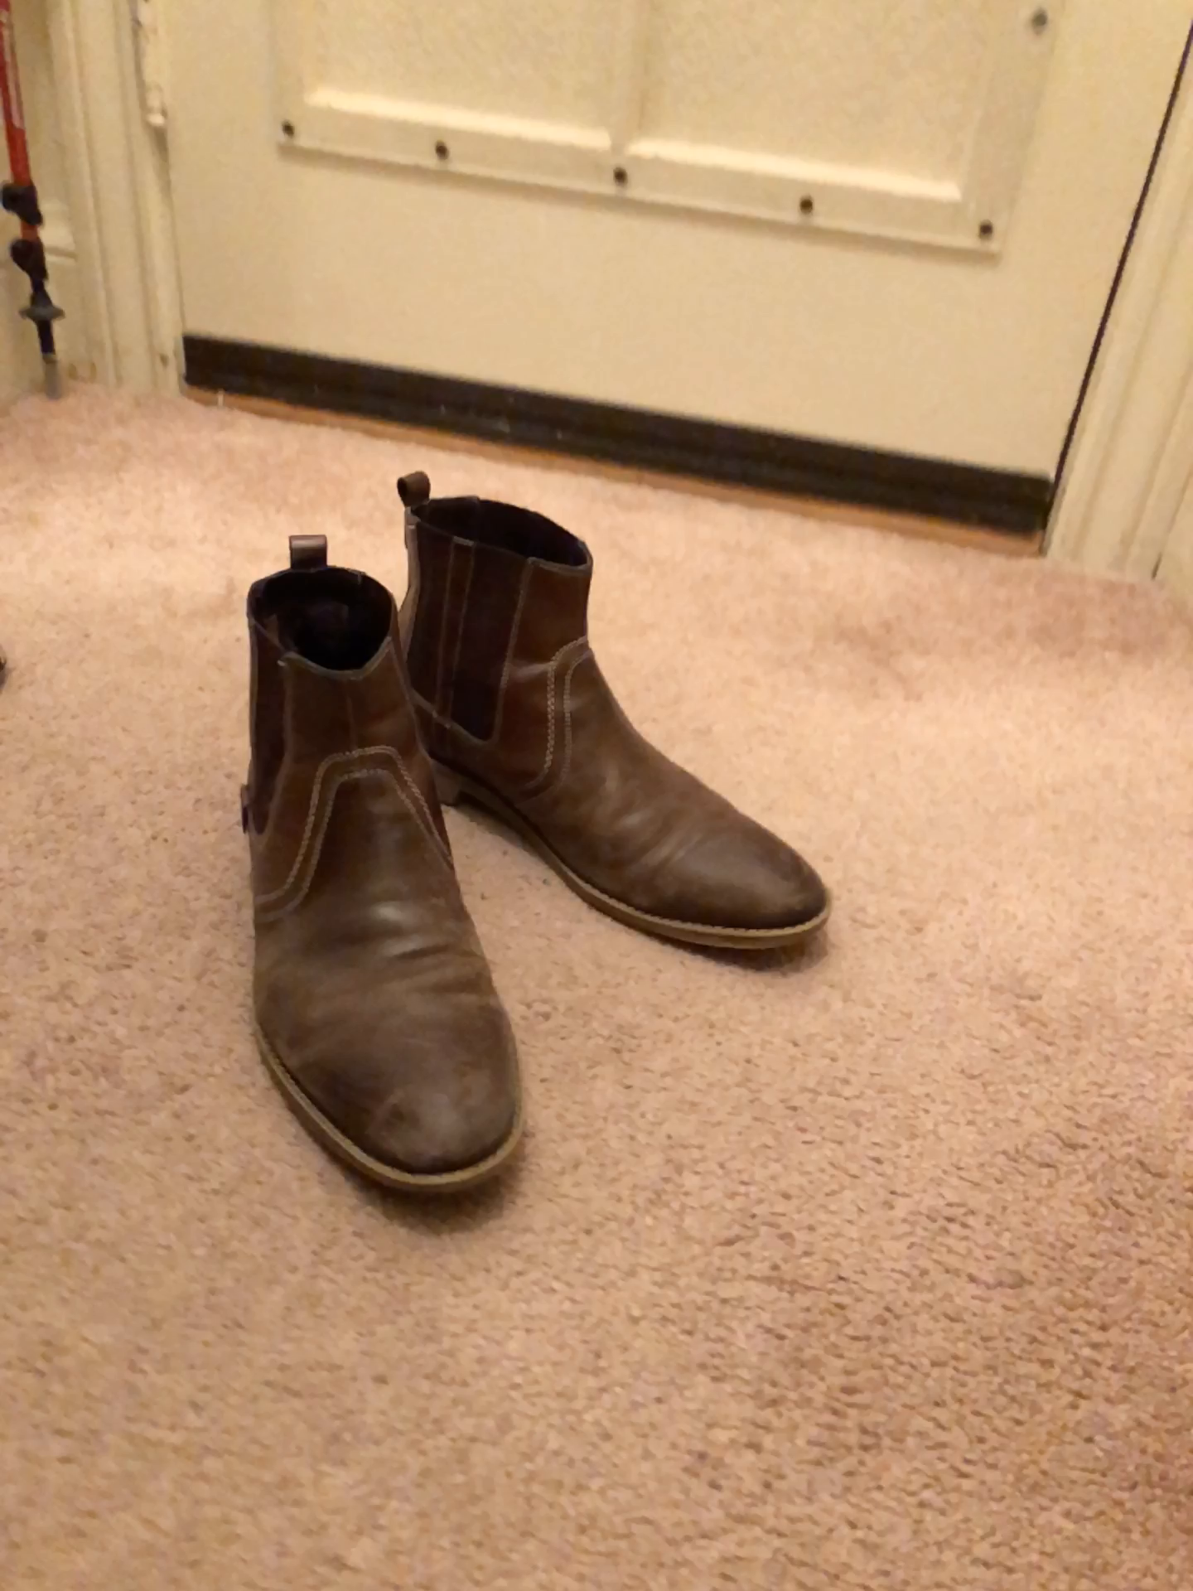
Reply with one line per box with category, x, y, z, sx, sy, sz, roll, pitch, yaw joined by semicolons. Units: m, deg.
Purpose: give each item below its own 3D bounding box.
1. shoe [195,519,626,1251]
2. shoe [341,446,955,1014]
shoe;-0.099;0.016;0.582;0.119;0.158;0.299;-6;37;-17
shoe;0.010;-0.049;0.691;0.298;0.158;0.119;31;42;31
